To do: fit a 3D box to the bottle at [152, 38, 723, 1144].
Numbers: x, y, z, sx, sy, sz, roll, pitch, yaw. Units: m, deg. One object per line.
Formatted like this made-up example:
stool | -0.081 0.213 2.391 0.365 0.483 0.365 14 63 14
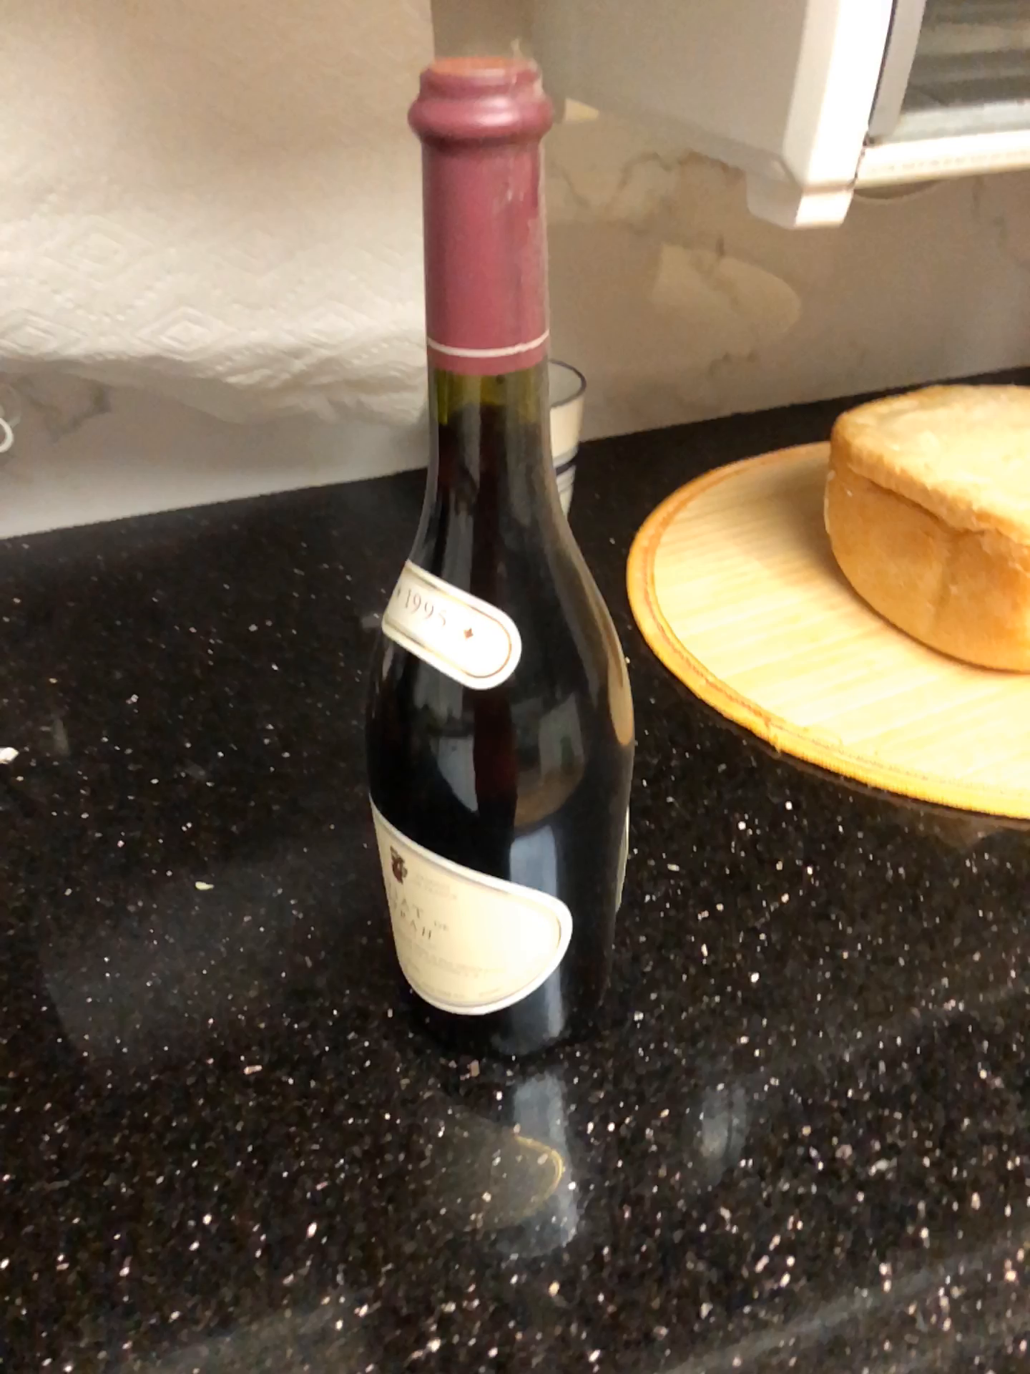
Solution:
bottle | -0.015 -0.011 0.341 0.090 0.308 0.090 -1 35 1
